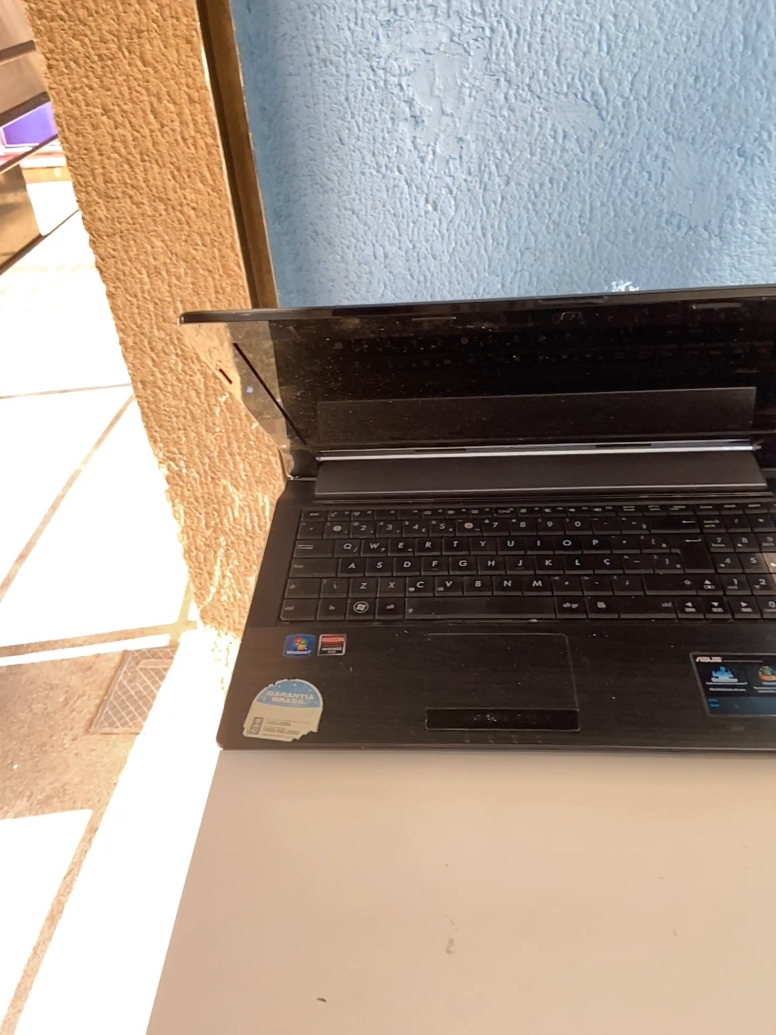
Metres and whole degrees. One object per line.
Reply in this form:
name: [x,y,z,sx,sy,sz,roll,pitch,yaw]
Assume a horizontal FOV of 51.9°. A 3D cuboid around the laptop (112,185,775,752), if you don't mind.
laptop: [0.100,-0.039,0.462,0.387,0.208,0.256,-1,37,5]
